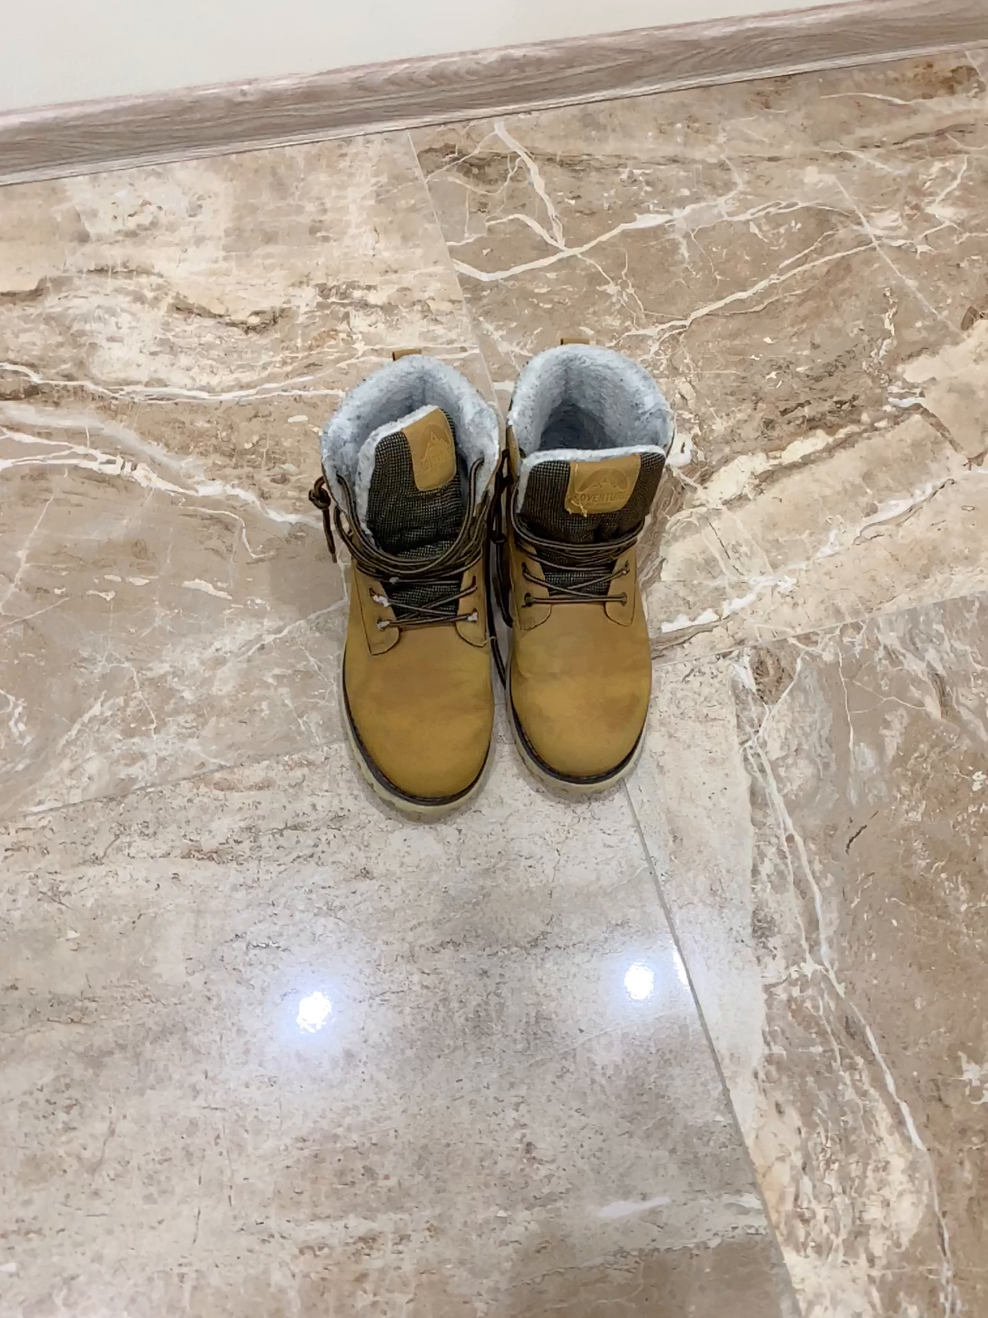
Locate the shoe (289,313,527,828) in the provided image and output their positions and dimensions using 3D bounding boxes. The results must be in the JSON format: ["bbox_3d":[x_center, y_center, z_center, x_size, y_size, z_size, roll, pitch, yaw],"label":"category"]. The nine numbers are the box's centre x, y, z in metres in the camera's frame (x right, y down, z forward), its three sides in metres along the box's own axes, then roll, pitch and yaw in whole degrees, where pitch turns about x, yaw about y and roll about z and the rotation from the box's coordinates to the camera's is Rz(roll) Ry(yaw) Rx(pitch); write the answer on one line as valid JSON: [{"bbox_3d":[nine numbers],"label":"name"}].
[{"bbox_3d":[-0.054,-0.052,0.640,0.120,0.160,0.281,-1,66,-4],"label":"shoe"}]

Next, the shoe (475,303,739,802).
[{"bbox_3d":[0.057,-0.066,0.642,0.120,0.140,0.281,-1,66,-4],"label":"shoe"}]
